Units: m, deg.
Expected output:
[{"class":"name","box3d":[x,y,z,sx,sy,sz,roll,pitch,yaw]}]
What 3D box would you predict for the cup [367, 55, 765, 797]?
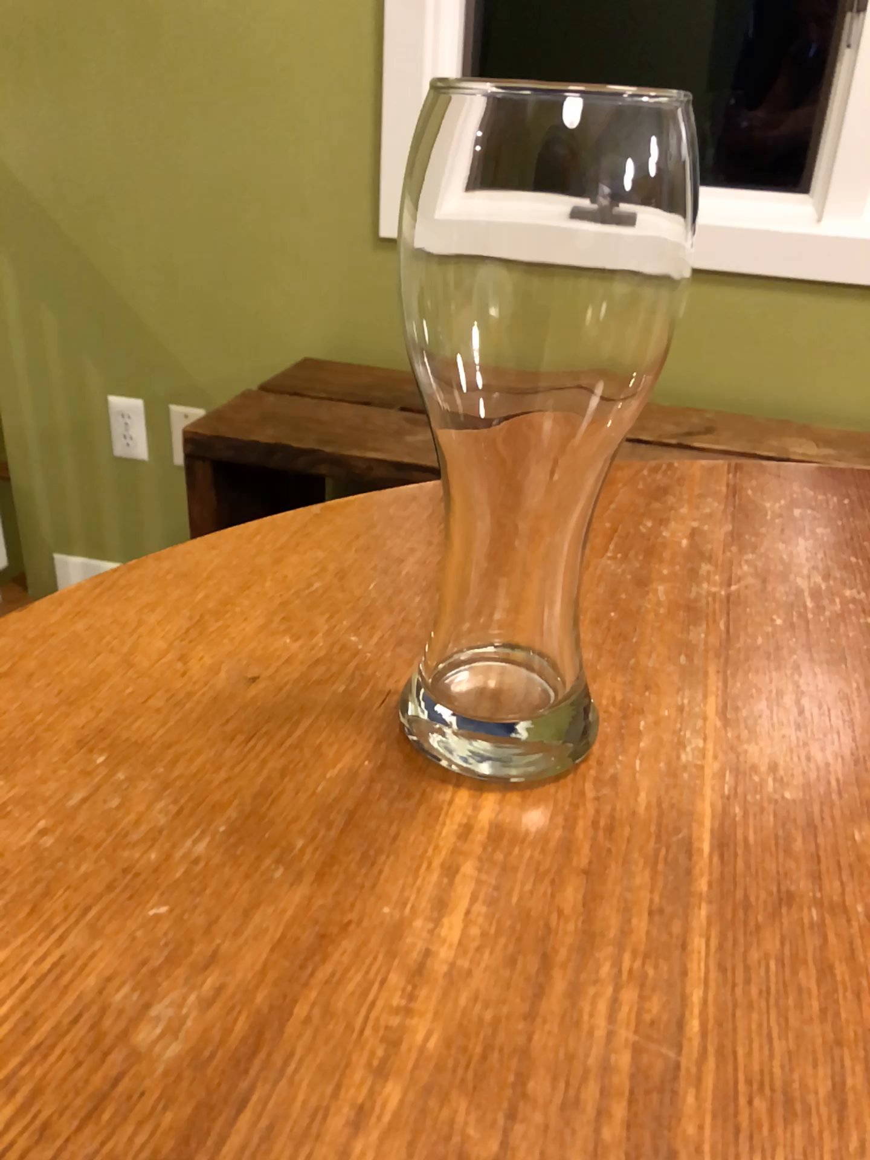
[{"class":"cup","box3d":[0.029,-0.046,0.323,0.093,0.222,0.088,3,26,-1]}]
